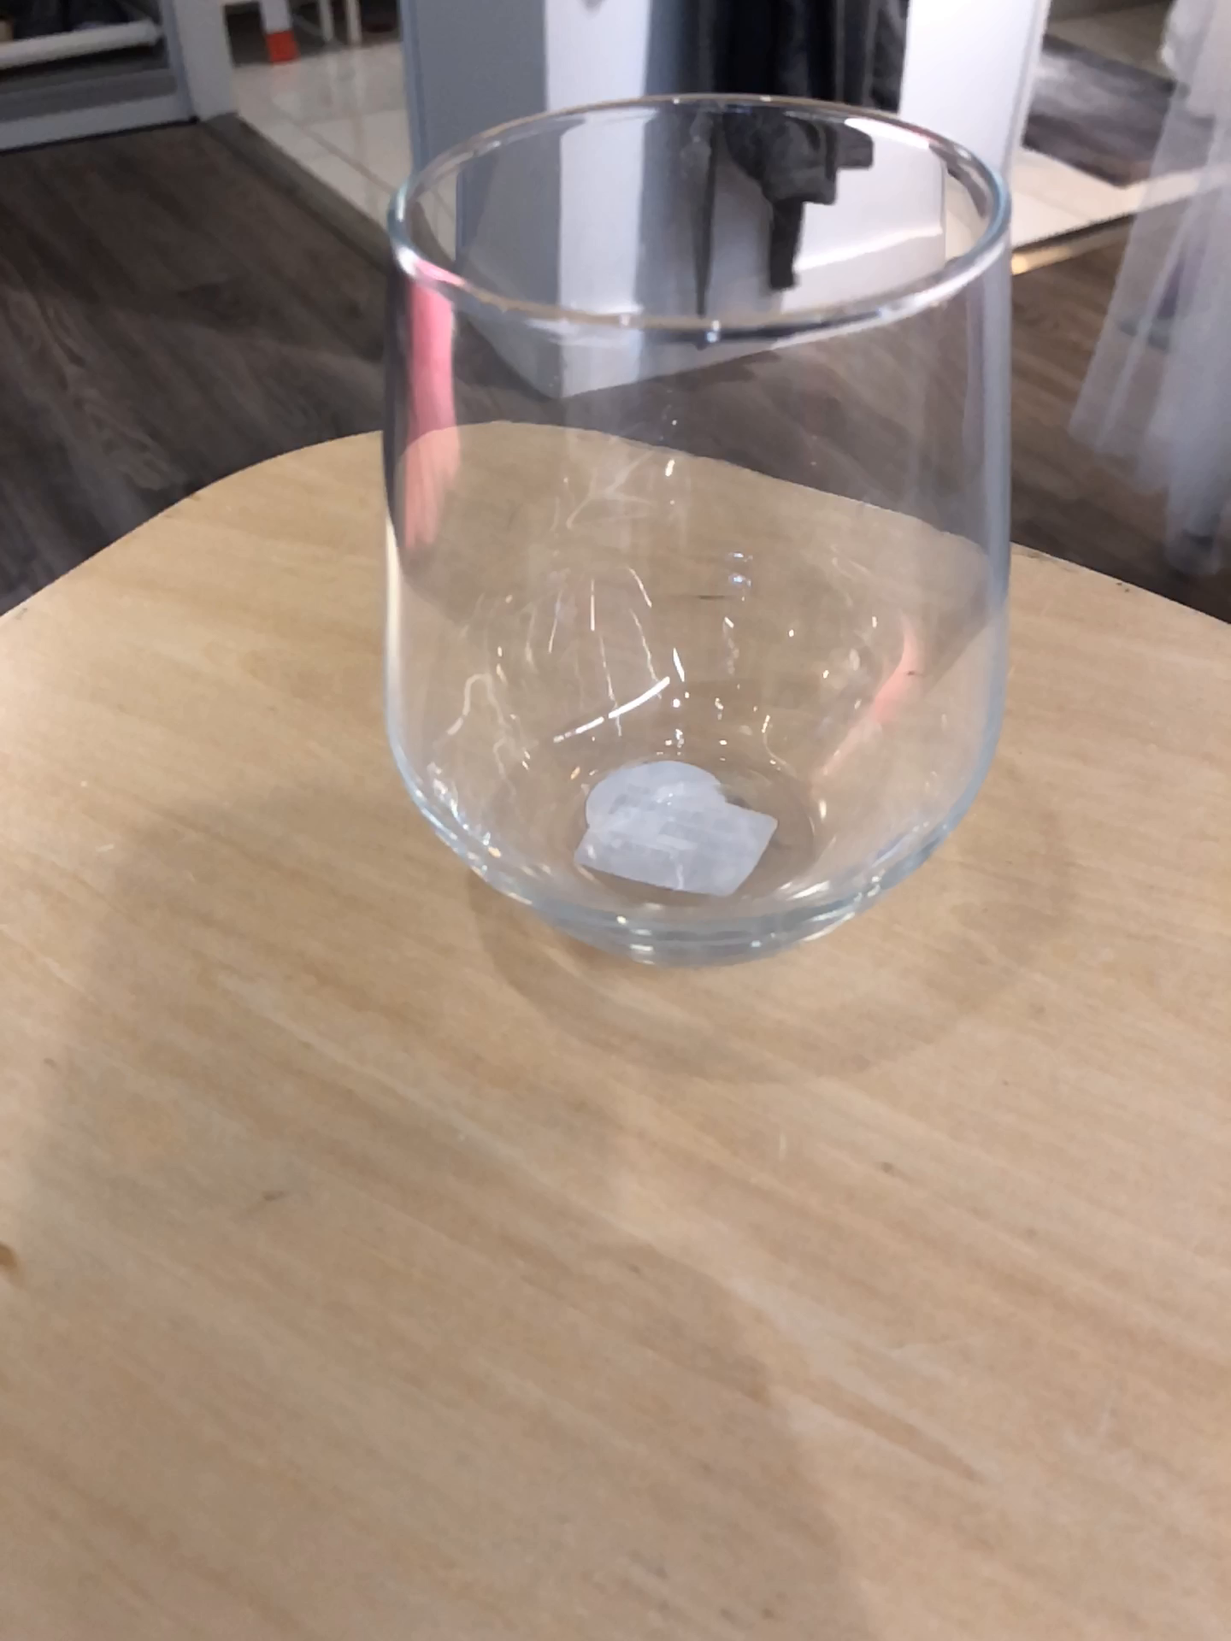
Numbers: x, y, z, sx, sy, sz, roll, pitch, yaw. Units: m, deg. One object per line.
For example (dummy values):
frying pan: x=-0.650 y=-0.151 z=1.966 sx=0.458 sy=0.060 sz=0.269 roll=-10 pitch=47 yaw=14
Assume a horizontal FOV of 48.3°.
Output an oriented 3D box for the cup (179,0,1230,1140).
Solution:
cup: x=0.012 y=-0.039 z=0.185 sx=0.090 sy=0.100 sz=0.090 roll=0 pitch=44 yaw=0
